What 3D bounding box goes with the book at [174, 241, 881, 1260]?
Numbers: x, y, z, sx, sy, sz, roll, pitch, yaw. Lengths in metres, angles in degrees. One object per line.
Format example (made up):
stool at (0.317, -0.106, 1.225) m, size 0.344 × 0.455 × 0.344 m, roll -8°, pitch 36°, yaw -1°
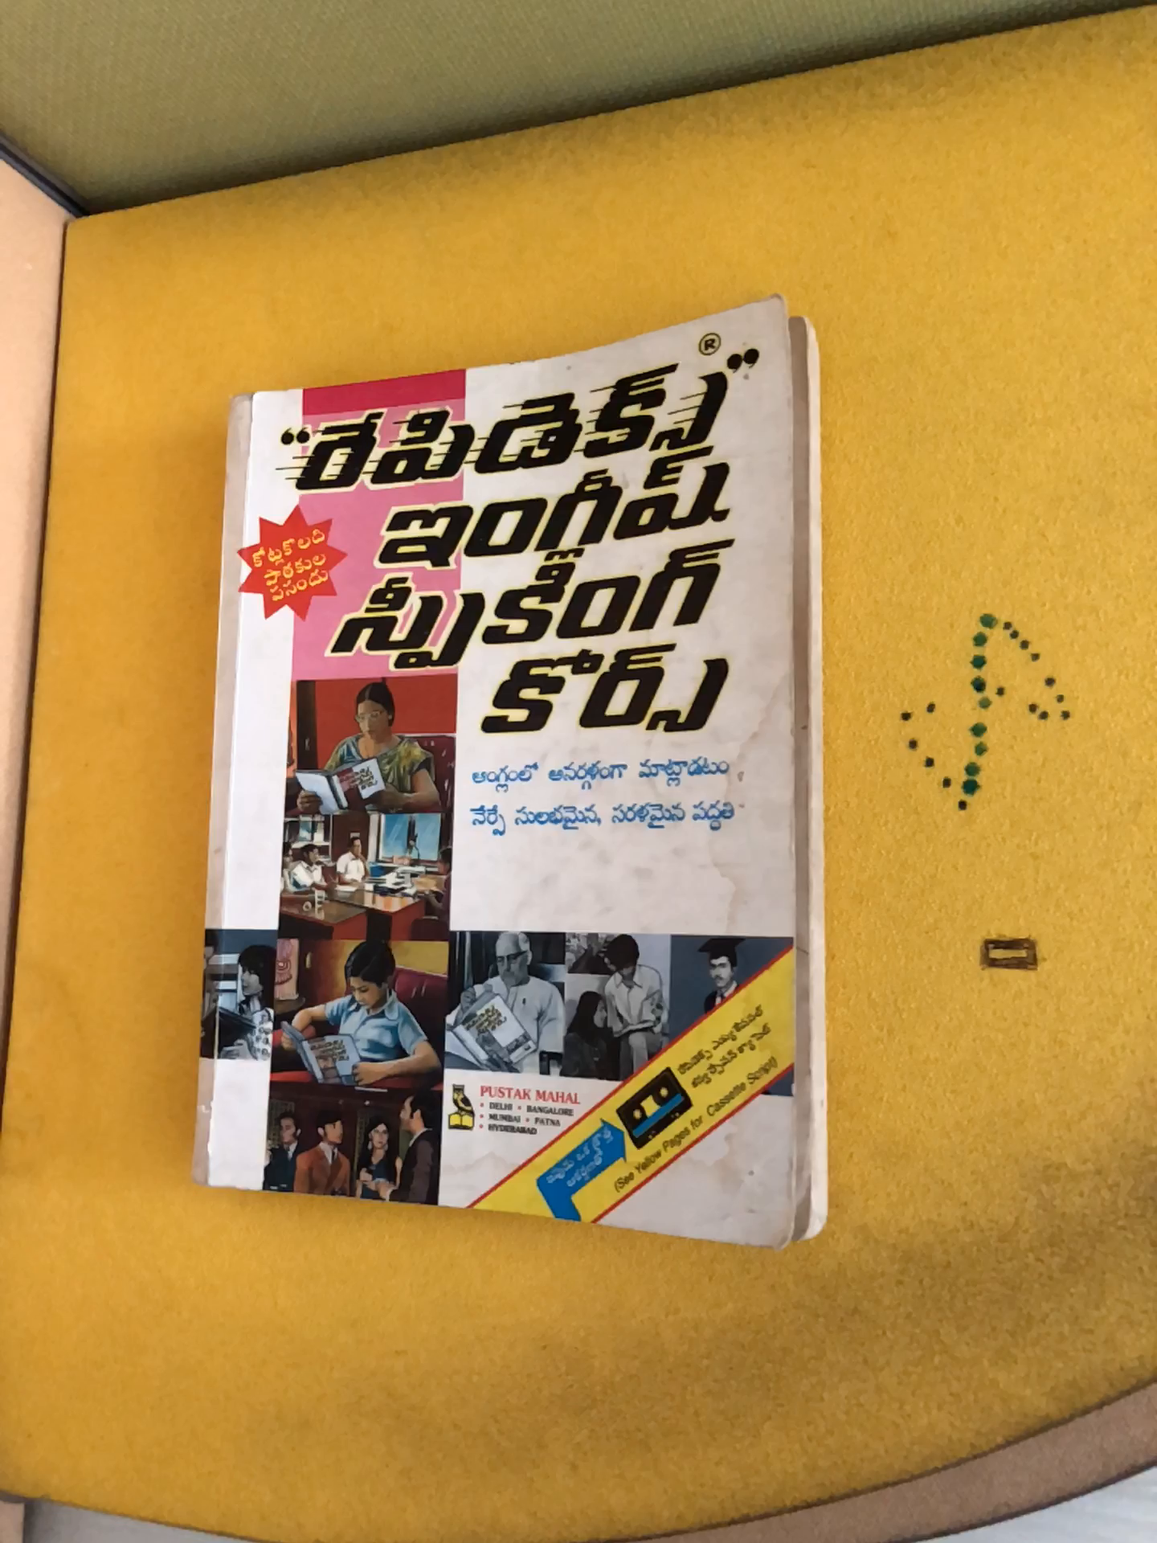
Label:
book at (-0.017, -0.007, 0.357) m, size 0.190 × 0.030 × 0.250 m, roll -2°, pitch 81°, yaw 20°
